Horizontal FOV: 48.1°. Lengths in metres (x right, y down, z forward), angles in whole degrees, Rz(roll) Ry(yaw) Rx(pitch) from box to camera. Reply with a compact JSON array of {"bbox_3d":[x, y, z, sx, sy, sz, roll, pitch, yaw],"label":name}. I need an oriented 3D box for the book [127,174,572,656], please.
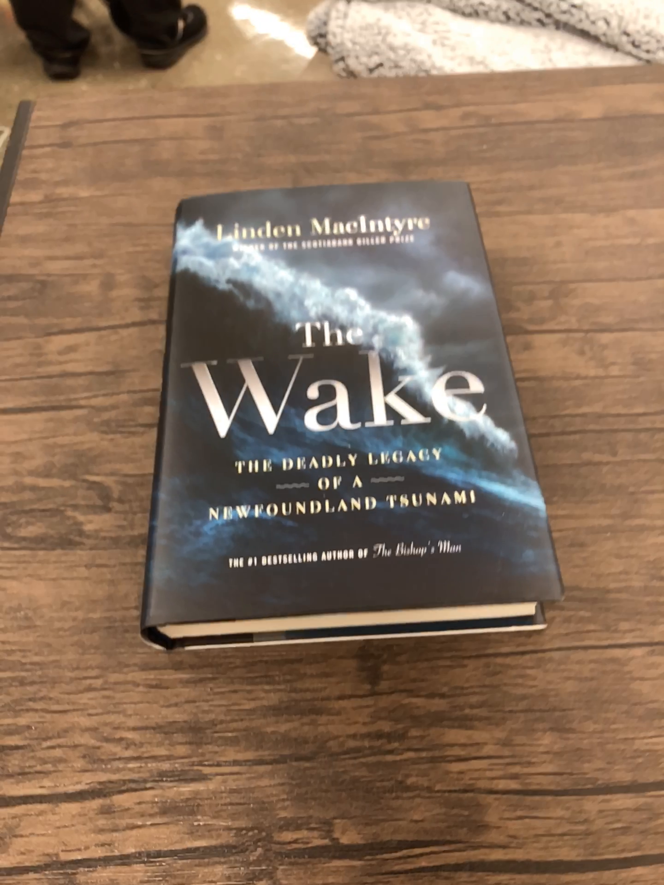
[{"bbox_3d":[0.002,-0.026,0.350,0.160,0.050,0.231,-3,58,0],"label":"book"}]
